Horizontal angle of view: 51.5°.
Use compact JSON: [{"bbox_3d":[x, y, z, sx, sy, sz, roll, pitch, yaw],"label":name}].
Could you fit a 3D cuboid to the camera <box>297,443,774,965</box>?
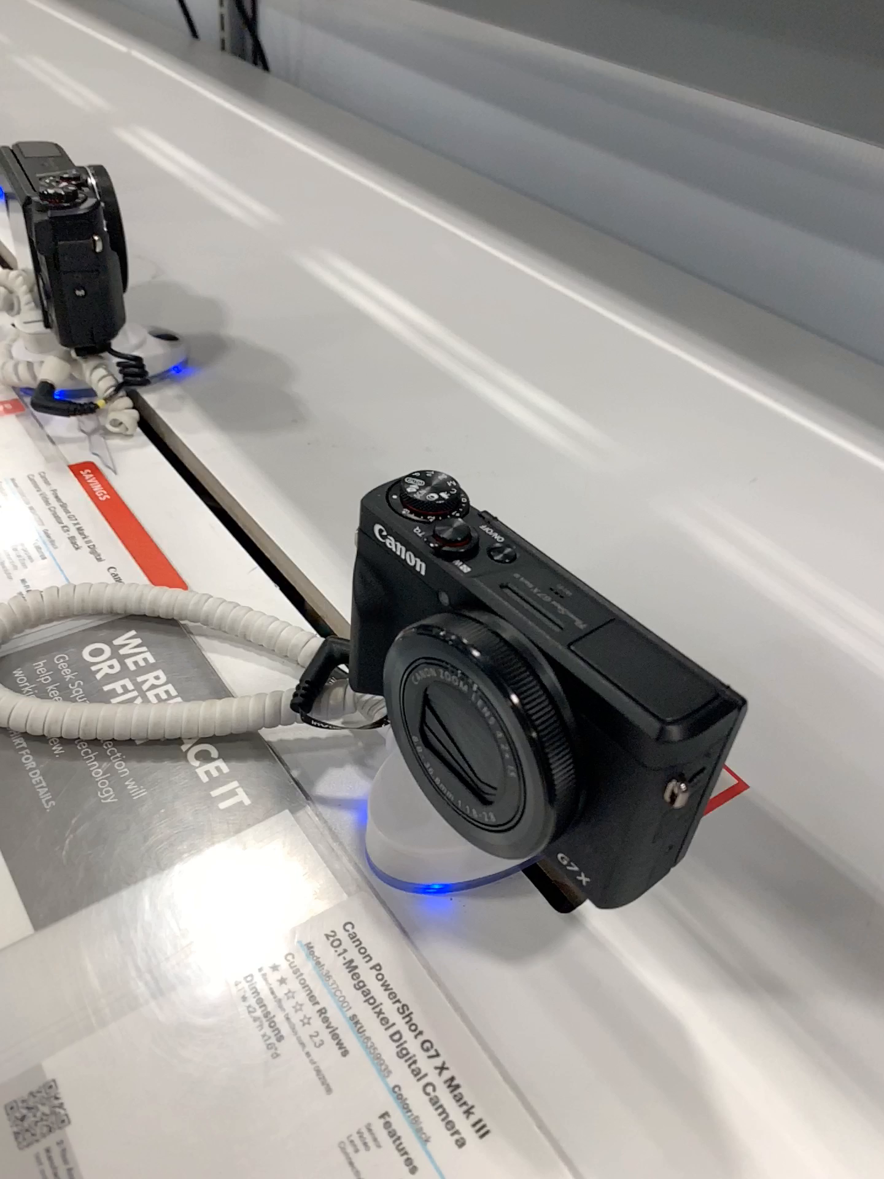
[{"bbox_3d":[0.013,0.022,0.222,0.040,0.062,0.110,-24,49,-34],"label":"camera"}]
